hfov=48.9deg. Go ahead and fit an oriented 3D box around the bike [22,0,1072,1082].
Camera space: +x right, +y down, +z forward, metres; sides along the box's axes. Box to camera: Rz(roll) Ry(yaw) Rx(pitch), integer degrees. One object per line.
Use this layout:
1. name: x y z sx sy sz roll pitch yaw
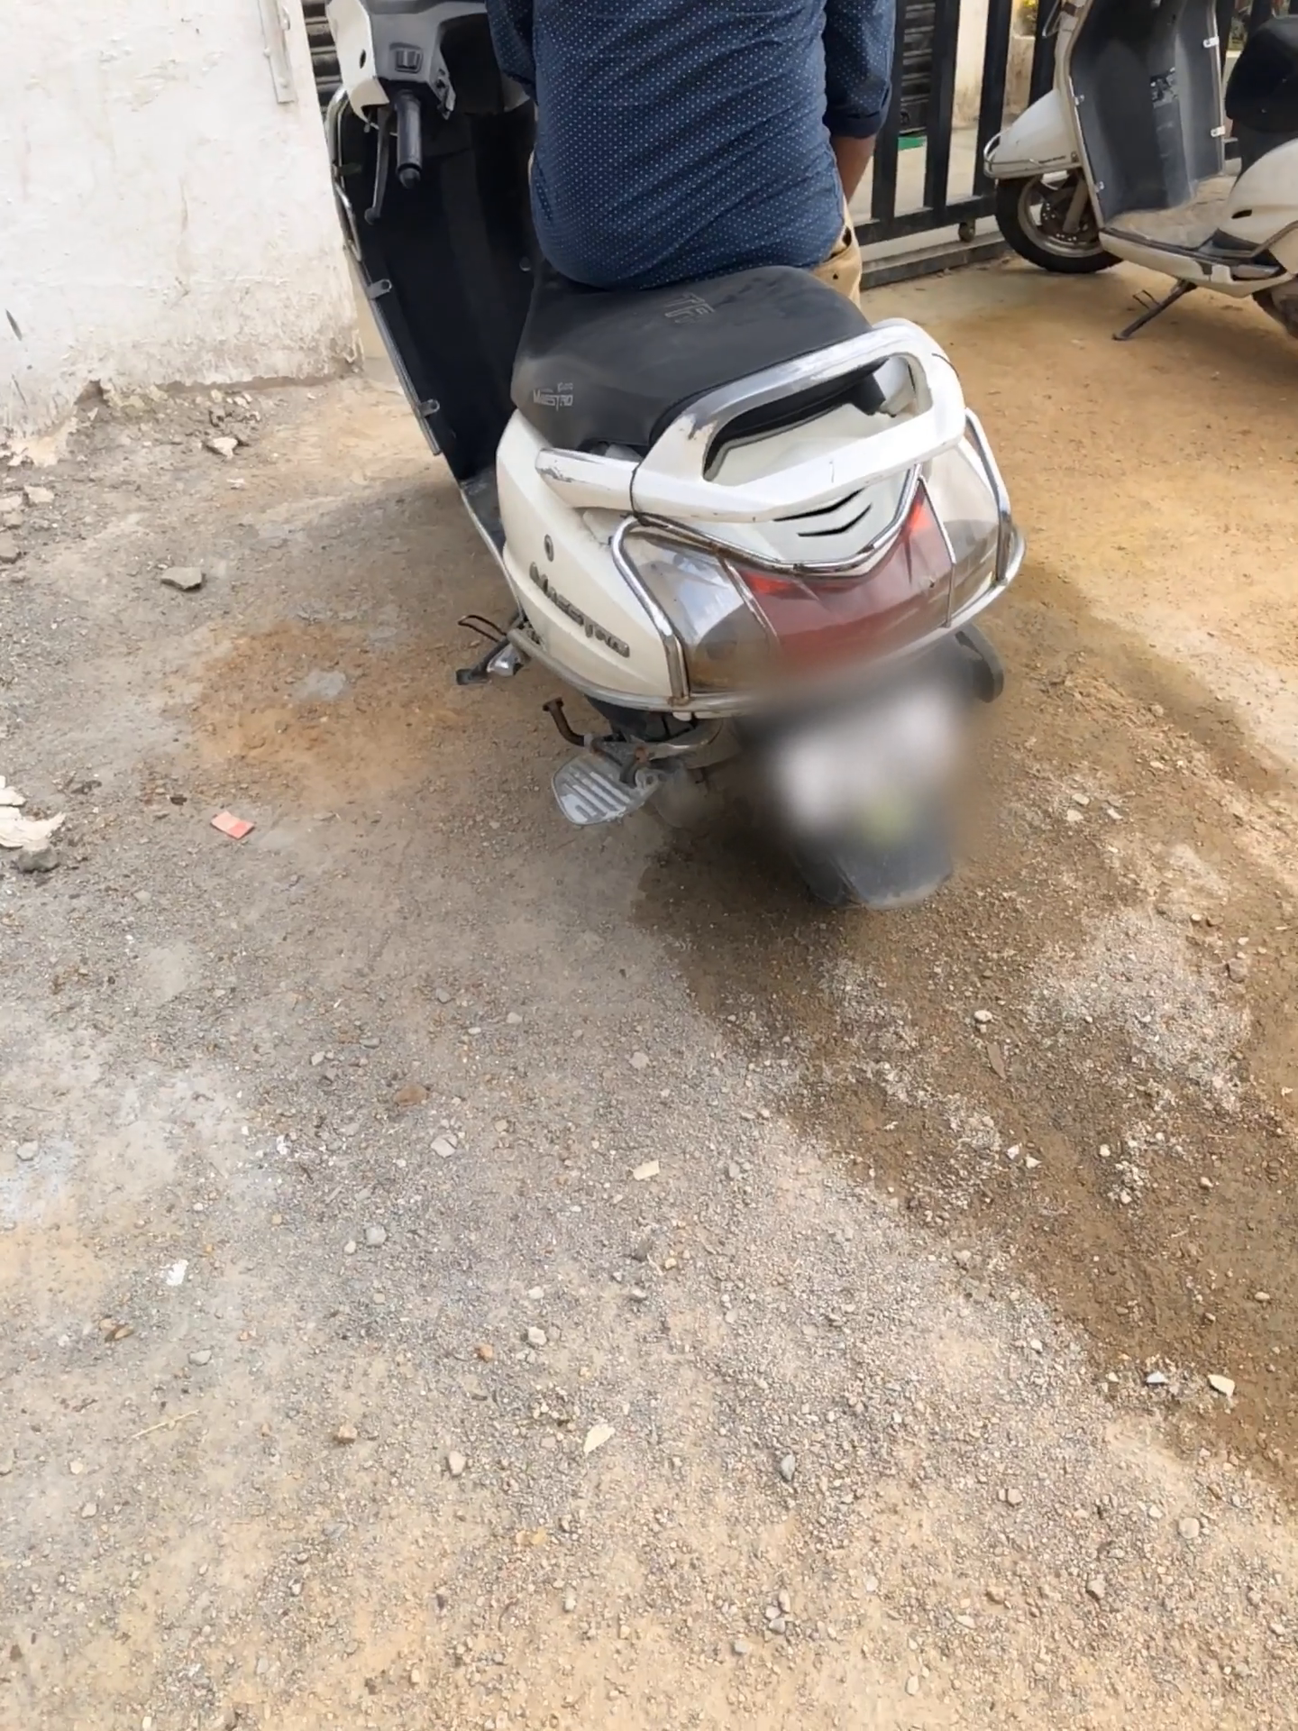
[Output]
1. bike: -0.246 -0.797 1.980 0.601 1.231 1.561 -17 43 -20
